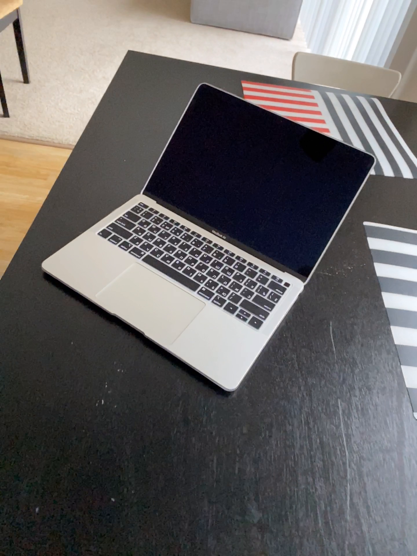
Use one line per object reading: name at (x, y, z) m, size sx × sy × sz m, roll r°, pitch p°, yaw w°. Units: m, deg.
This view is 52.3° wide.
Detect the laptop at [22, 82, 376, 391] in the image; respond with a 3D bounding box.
laptop at (0.008, -0.095, 0.580) m, size 0.297 × 0.139 × 0.362 m, roll 30°, pitch 49°, yaw 16°
